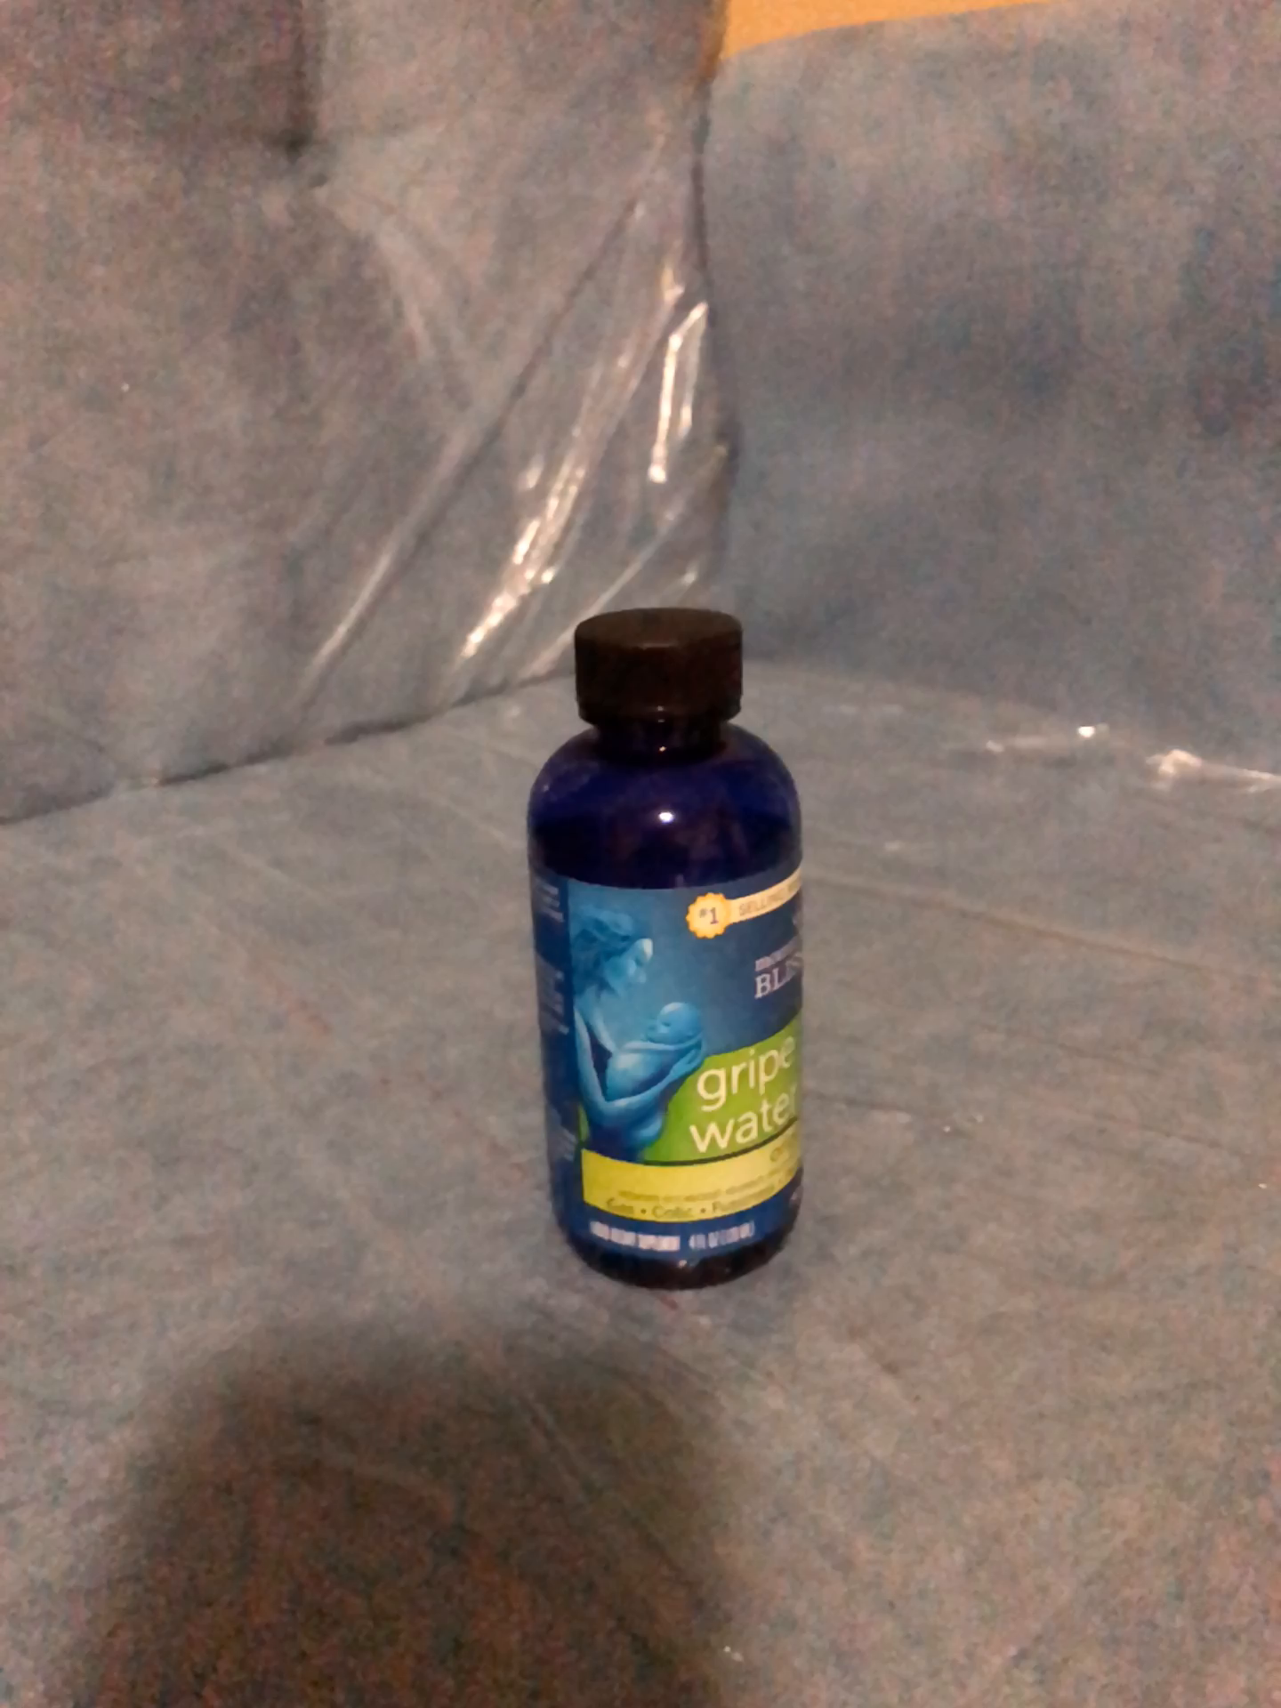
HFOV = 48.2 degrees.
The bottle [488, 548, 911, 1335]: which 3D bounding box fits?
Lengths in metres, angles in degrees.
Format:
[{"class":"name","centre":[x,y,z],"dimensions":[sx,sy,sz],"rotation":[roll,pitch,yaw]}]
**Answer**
[{"class":"bottle","centre":[0.008,0.013,0.250],"dimensions":[0.050,0.120,0.050],"rotation":[0,23,0]}]
